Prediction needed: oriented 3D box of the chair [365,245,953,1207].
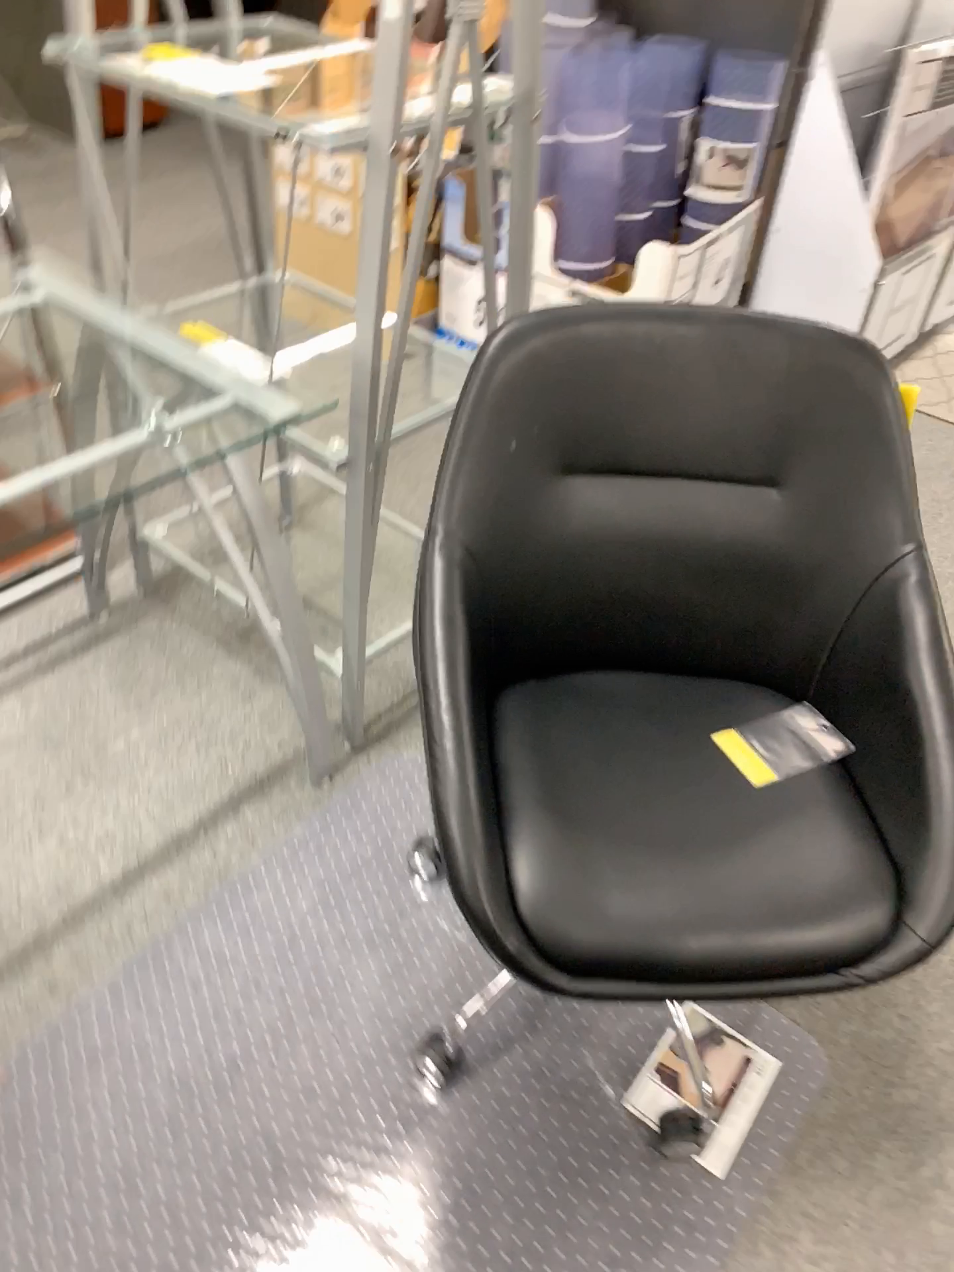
[{"bbox_3d":[0.213,0.123,1.121,0.670,0.885,0.623,-1,41,-7],"label":"chair"}]
